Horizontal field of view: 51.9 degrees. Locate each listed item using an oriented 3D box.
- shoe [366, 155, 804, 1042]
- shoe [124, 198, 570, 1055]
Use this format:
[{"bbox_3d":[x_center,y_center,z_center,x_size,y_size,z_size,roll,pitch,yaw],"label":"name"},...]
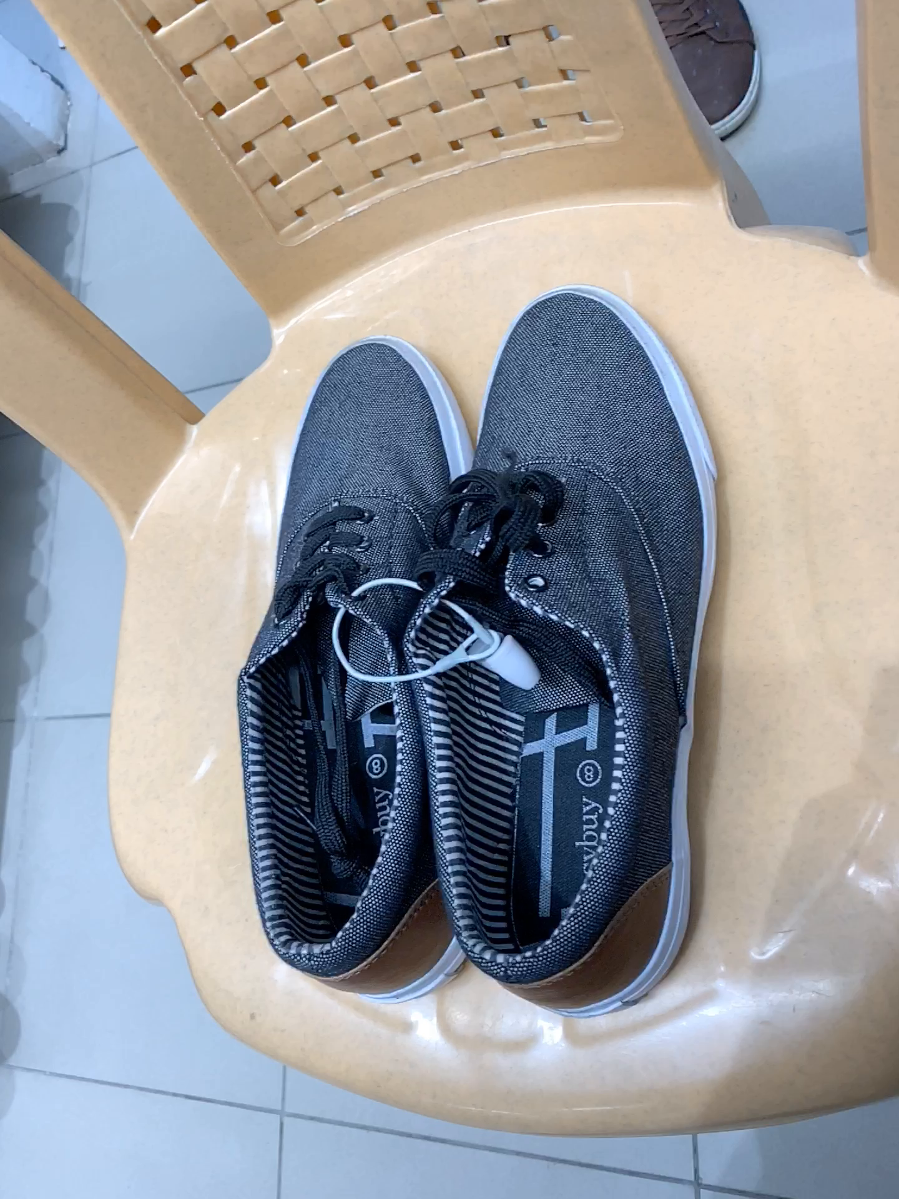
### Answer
[{"bbox_3d":[0.048,0.003,0.343,0.110,0.110,0.270,-10,74,25],"label":"shoe"},{"bbox_3d":[-0.040,0.012,0.340,0.100,0.110,0.260,-14,72,24],"label":"shoe"}]
